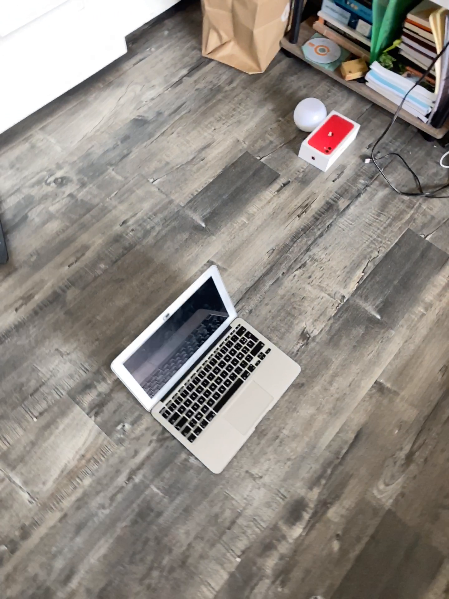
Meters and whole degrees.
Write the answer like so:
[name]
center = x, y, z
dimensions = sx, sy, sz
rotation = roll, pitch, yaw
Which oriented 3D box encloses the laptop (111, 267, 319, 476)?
[laptop]
center = -0.016, 0.140, 0.913
dimensions = 0.254, 0.159, 0.290
rotation = 37, 68, 17
